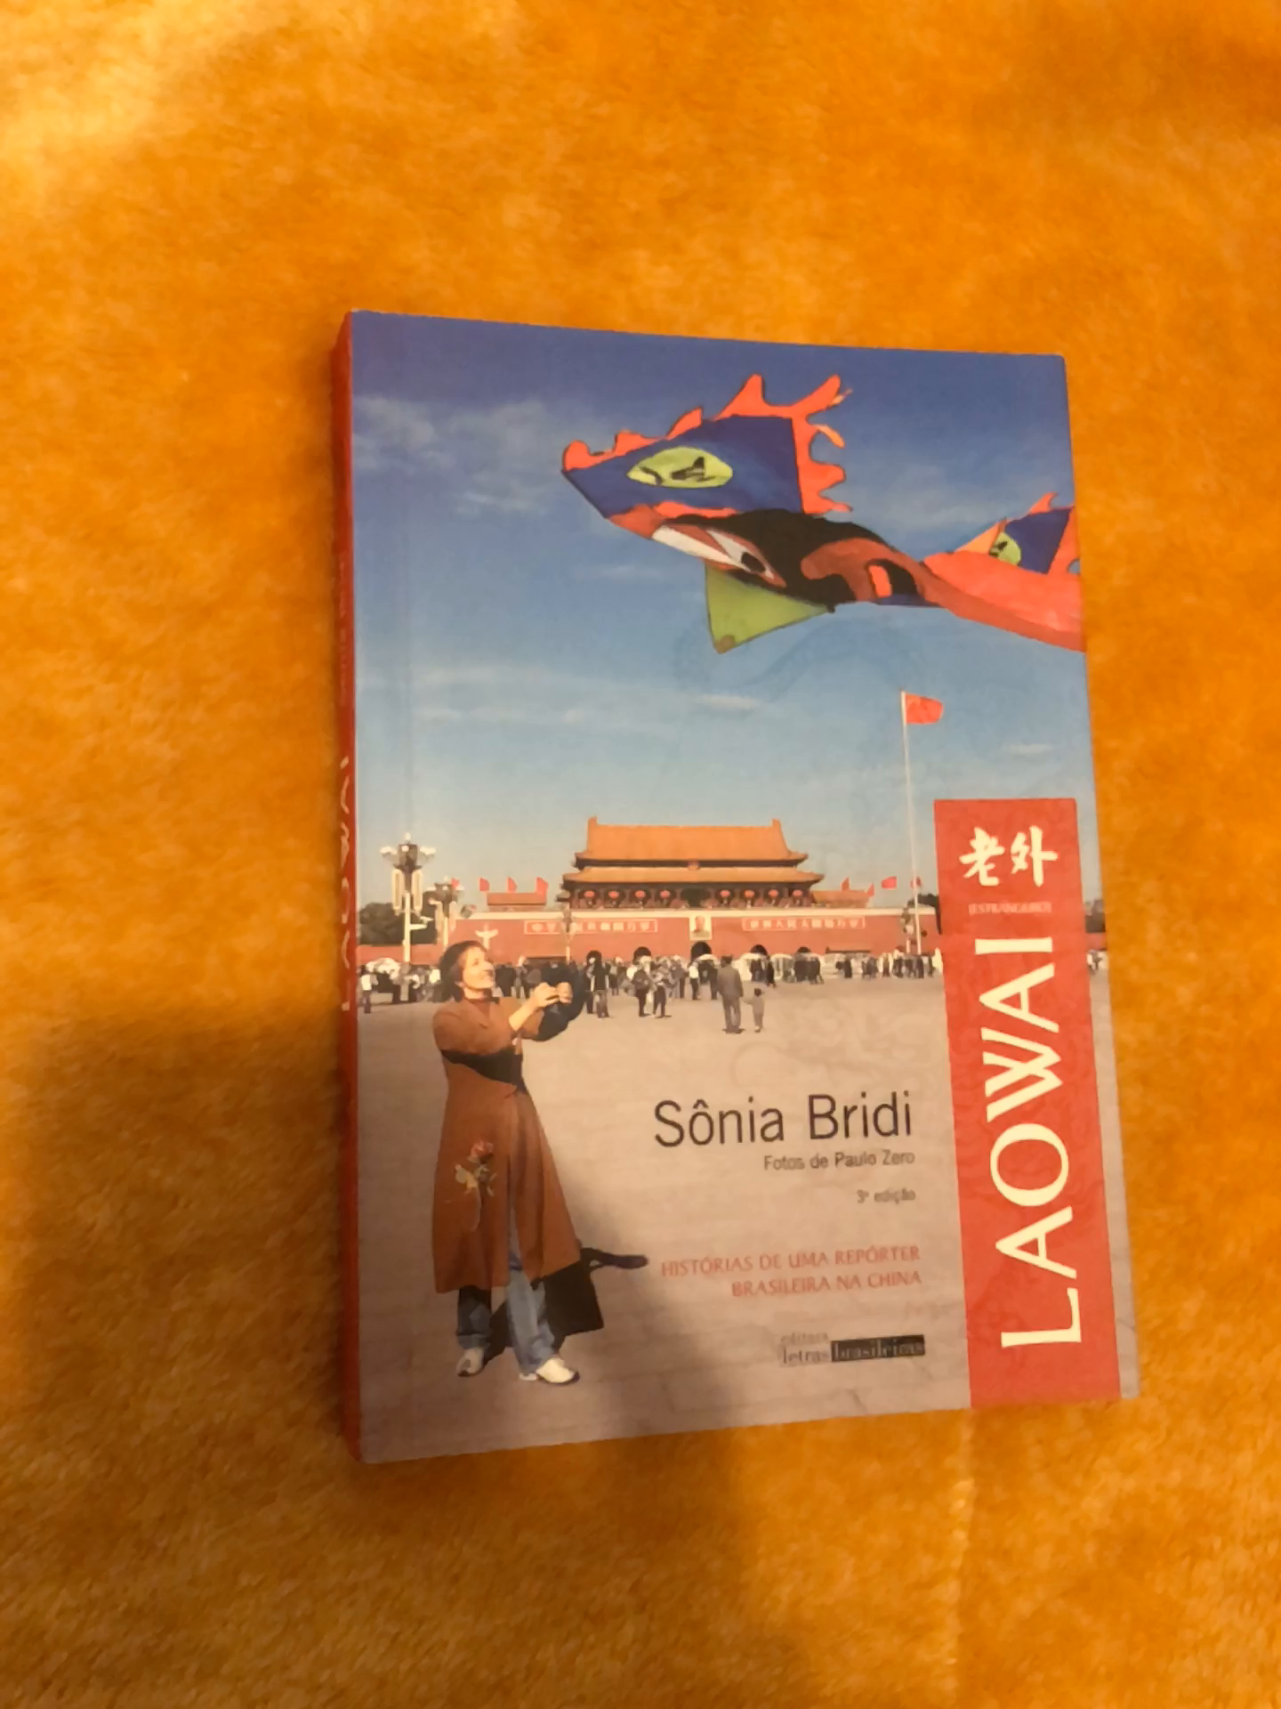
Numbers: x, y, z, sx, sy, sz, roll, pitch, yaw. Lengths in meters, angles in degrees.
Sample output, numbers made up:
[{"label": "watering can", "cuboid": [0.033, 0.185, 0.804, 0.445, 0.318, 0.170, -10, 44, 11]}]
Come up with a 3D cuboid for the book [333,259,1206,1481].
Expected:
[{"label": "book", "cuboid": [0.022, -0.003, 0.308, 0.170, 0.040, 0.240, -1, 82, -7]}]
